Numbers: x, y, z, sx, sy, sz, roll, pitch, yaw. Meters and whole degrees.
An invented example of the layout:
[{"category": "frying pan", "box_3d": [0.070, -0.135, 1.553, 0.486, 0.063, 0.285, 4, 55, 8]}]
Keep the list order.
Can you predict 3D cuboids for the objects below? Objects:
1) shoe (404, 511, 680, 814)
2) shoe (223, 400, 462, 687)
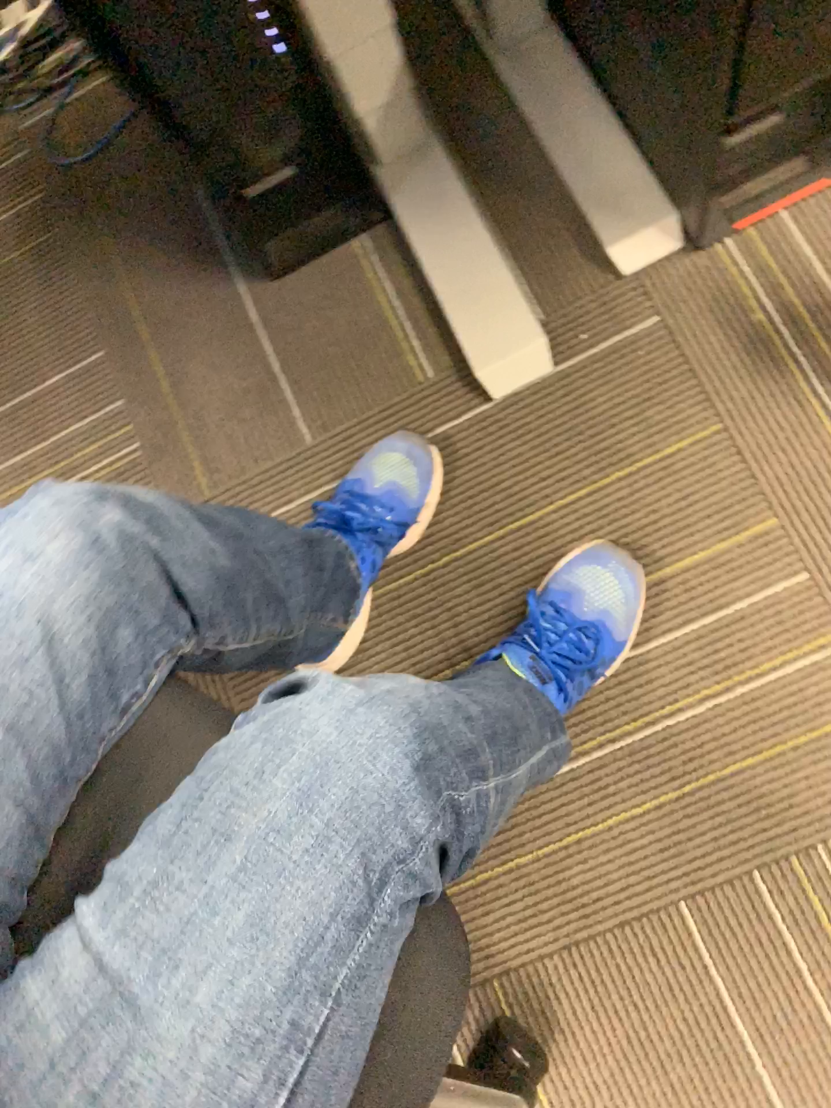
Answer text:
[{"category": "shoe", "box_3d": [0.128, 0.109, 0.864, 0.117, 0.083, 0.278, 39, 90, 17]}, {"category": "shoe", "box_3d": [-0.075, -0.008, 0.925, 0.116, 0.083, 0.278, 29, 87, 17]}]
